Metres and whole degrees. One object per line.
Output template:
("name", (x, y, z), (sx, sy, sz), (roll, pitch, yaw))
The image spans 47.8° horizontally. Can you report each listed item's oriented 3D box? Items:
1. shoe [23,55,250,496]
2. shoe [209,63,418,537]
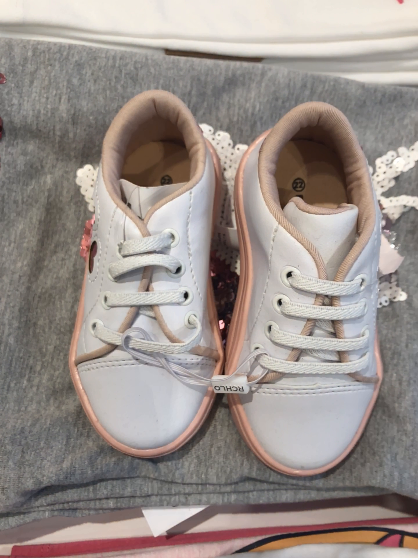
("shoe", (-0.028, 0.000, 0.199), (0.070, 0.070, 0.150), (3, 89, -7))
("shoe", (0.043, 0.005, 0.189), (0.070, 0.070, 0.150), (-3, 86, -8))
